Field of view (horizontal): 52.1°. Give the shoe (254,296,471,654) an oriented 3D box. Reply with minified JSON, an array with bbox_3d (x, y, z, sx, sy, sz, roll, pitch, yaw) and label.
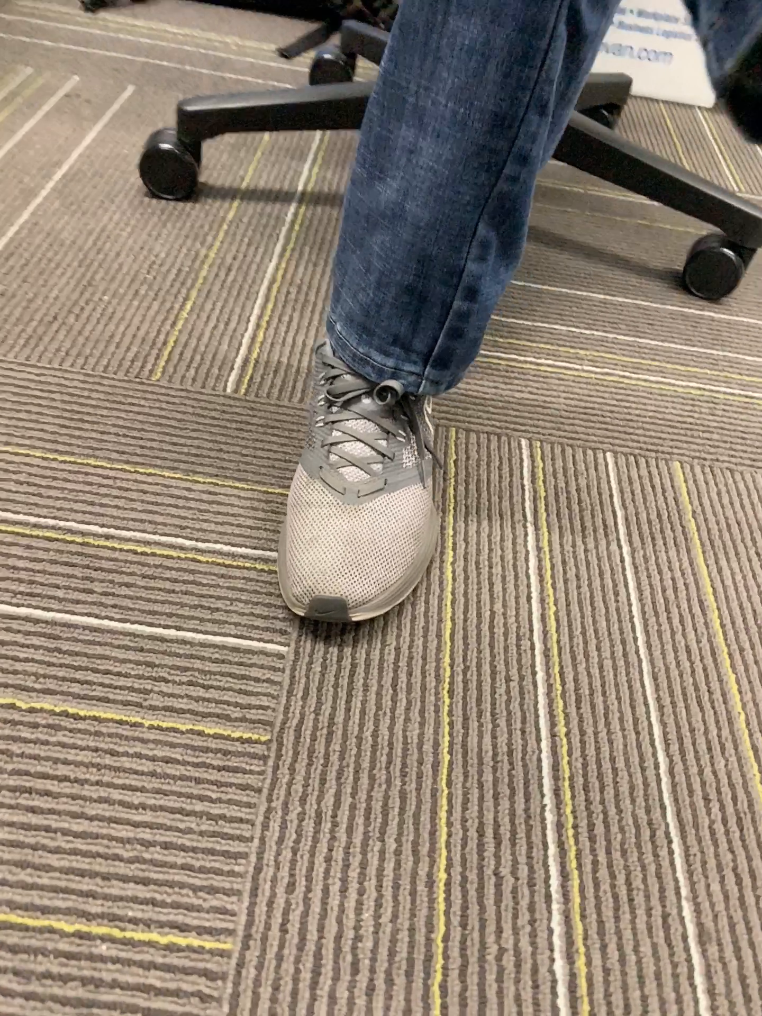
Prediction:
[{"bbox_3d":[-0.005,-0.039,0.582,0.120,0.085,0.270,10,46,-1],"label":"shoe"}]

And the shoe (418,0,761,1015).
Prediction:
[{"bbox_3d":[0.132,-0.044,0.155,0.122,0.142,0.296,-17,27,31],"label":"shoe"}]
